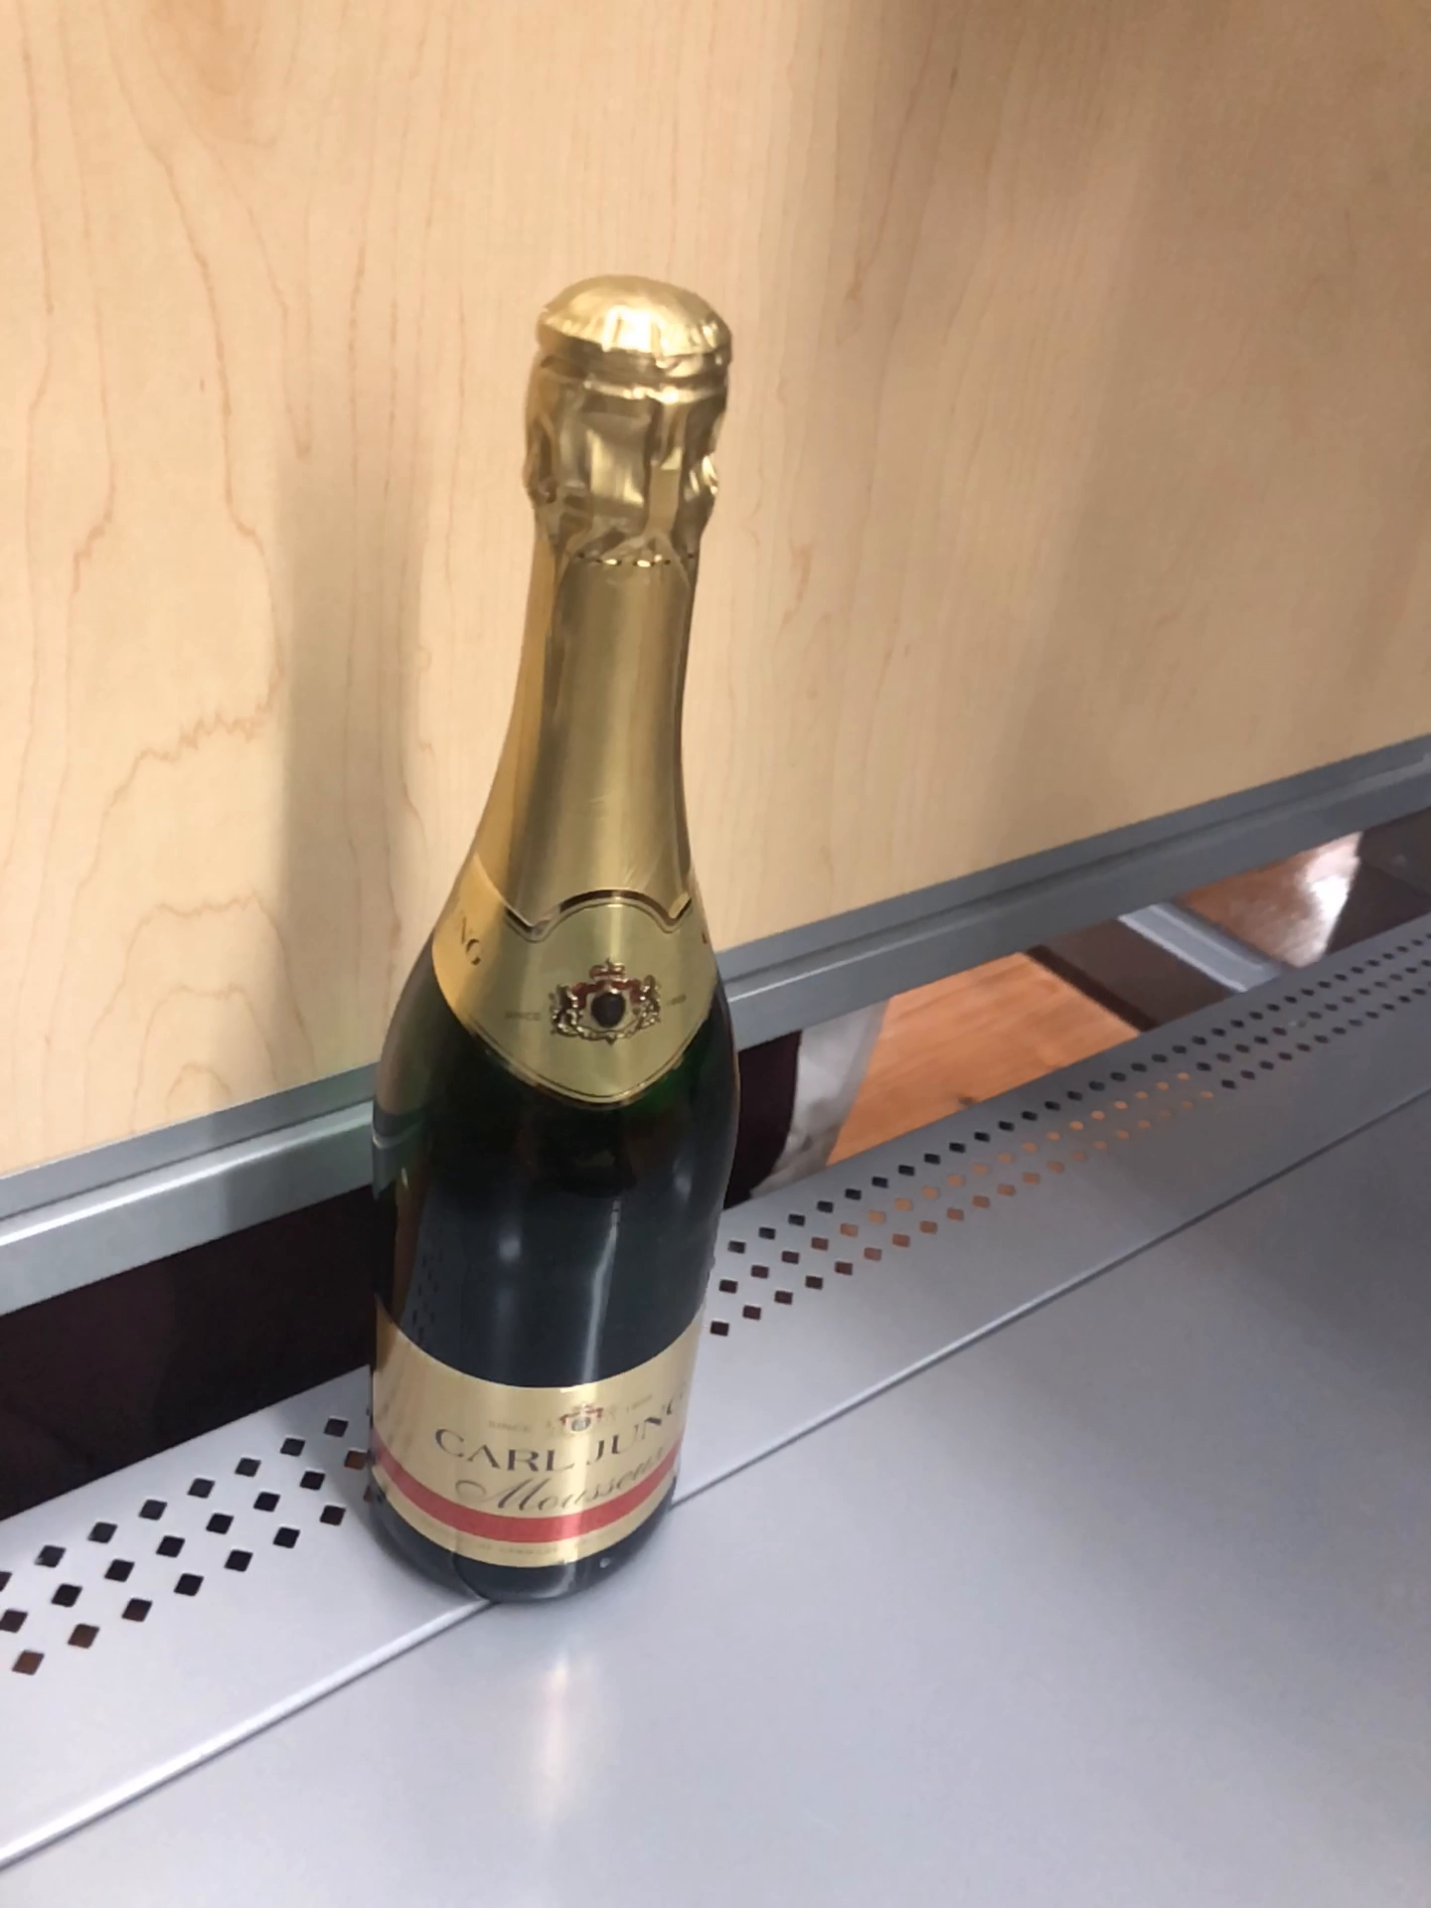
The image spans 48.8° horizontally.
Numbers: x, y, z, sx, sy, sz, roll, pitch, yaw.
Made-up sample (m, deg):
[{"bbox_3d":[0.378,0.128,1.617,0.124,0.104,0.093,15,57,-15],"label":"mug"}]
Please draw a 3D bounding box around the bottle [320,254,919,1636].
[{"bbox_3d":[-0.038,0.017,0.351,0.090,0.298,0.091,6,32,-4],"label":"bottle"}]
